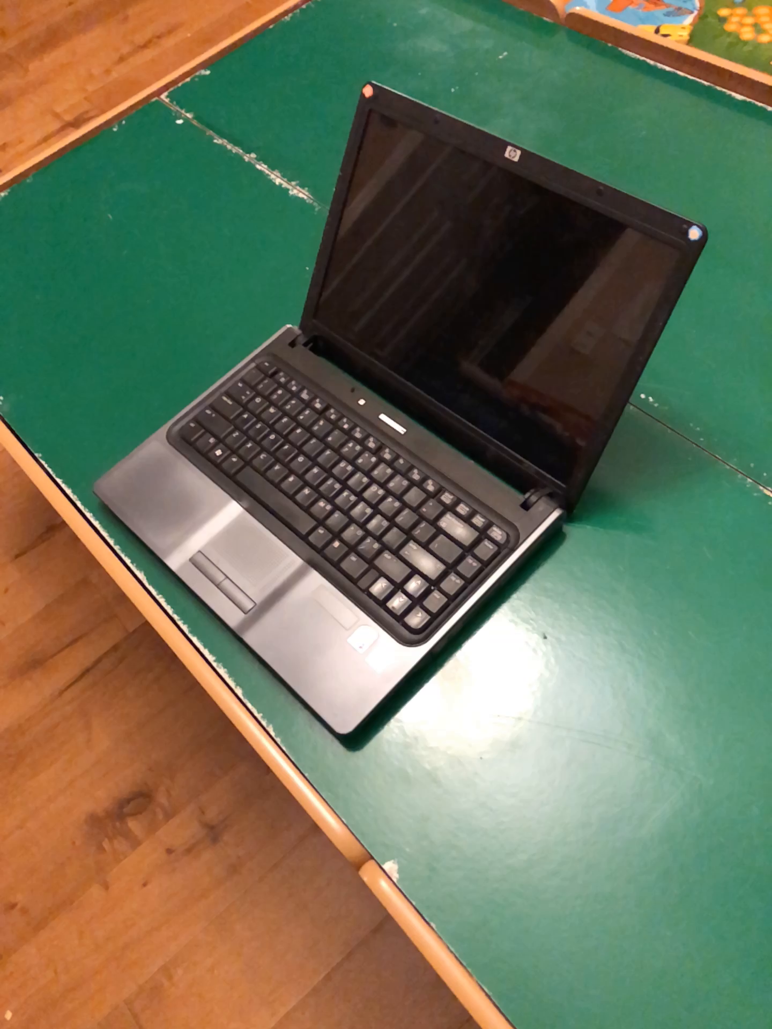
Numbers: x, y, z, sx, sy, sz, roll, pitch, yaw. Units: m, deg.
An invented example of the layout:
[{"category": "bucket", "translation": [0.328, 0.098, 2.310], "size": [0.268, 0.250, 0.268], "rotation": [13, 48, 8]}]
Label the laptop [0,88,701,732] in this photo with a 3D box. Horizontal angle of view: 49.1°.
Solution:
[{"category": "laptop", "translation": [-0.023, -0.103, 0.648], "size": [0.374, 0.172, 0.324], "rotation": [-43, 60, -16]}]
